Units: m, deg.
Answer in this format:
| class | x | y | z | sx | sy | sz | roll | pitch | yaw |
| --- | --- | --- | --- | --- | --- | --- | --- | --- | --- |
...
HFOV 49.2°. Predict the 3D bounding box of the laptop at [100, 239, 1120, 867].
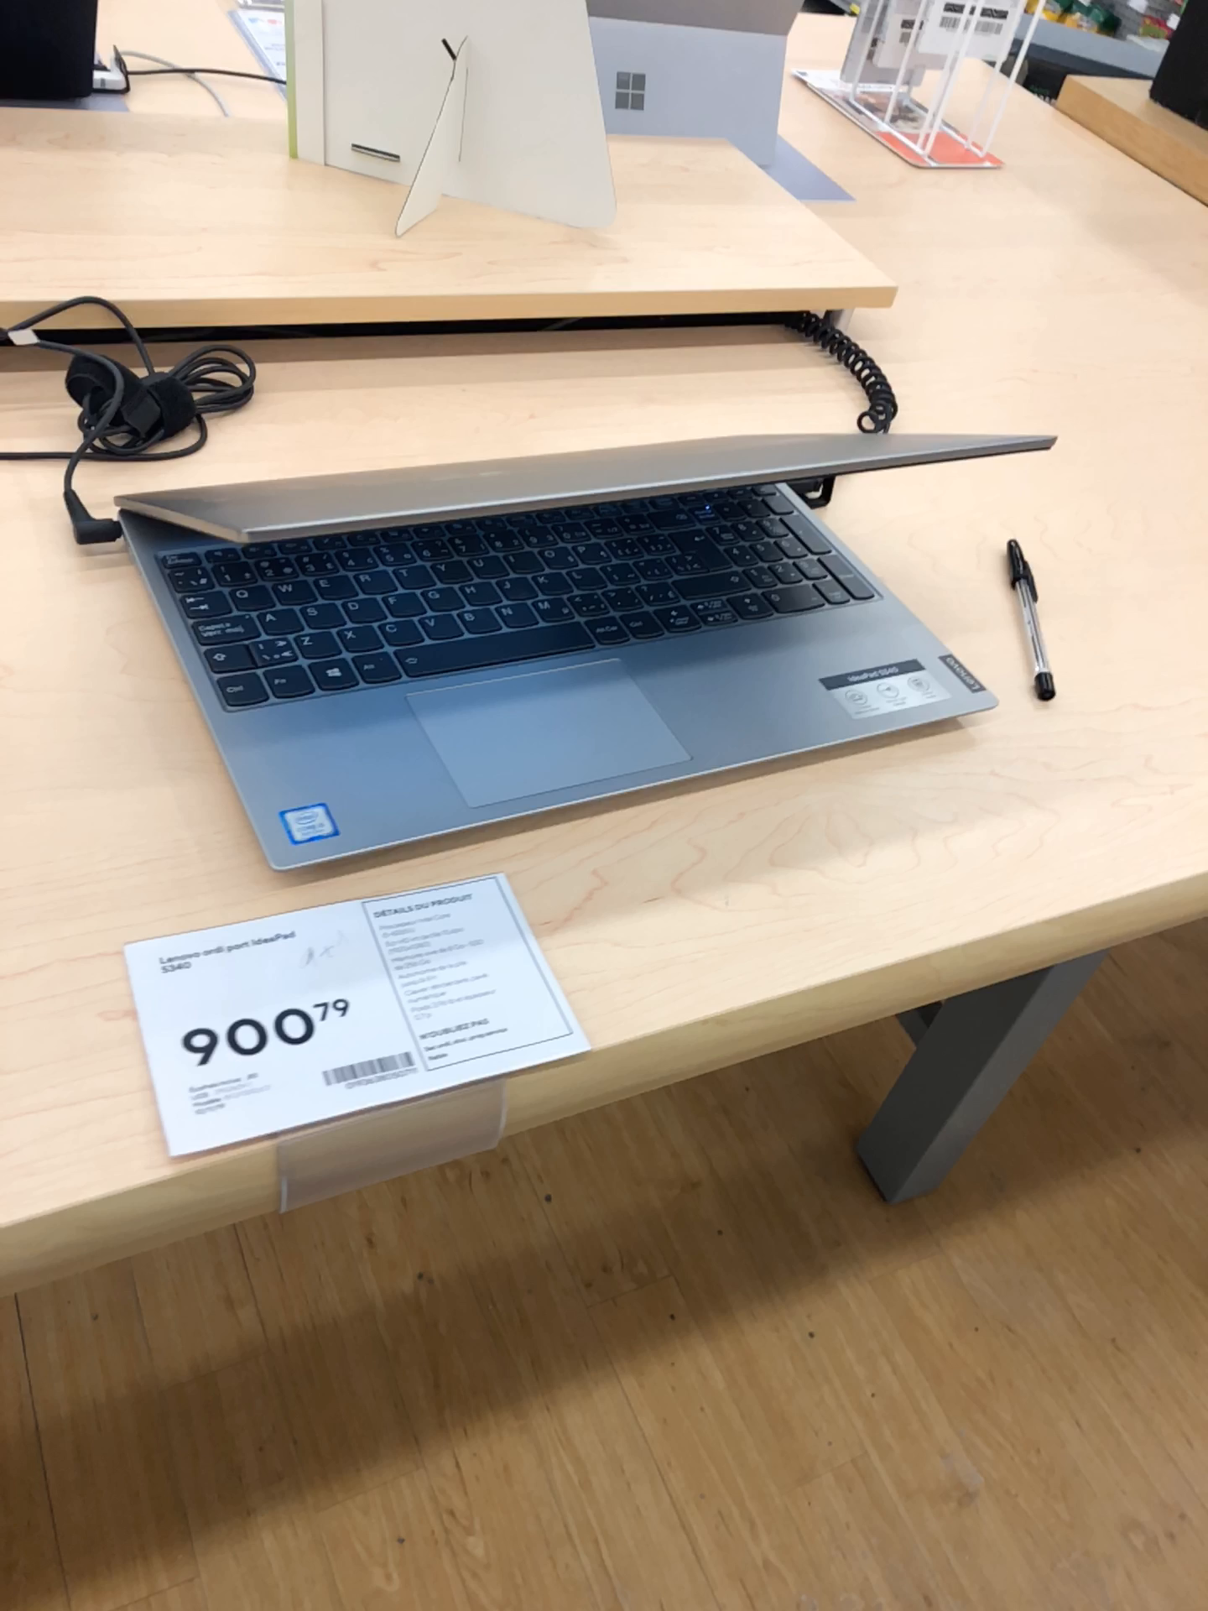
| class | x | y | z | sx | sy | sz | roll | pitch | yaw |
| --- | --- | --- | --- | --- | --- | --- | --- | --- | --- |
| laptop | -0.005 | -0.135 | 0.578 | 0.352 | 0.122 | 0.234 | -13 | 50 | -27 |
